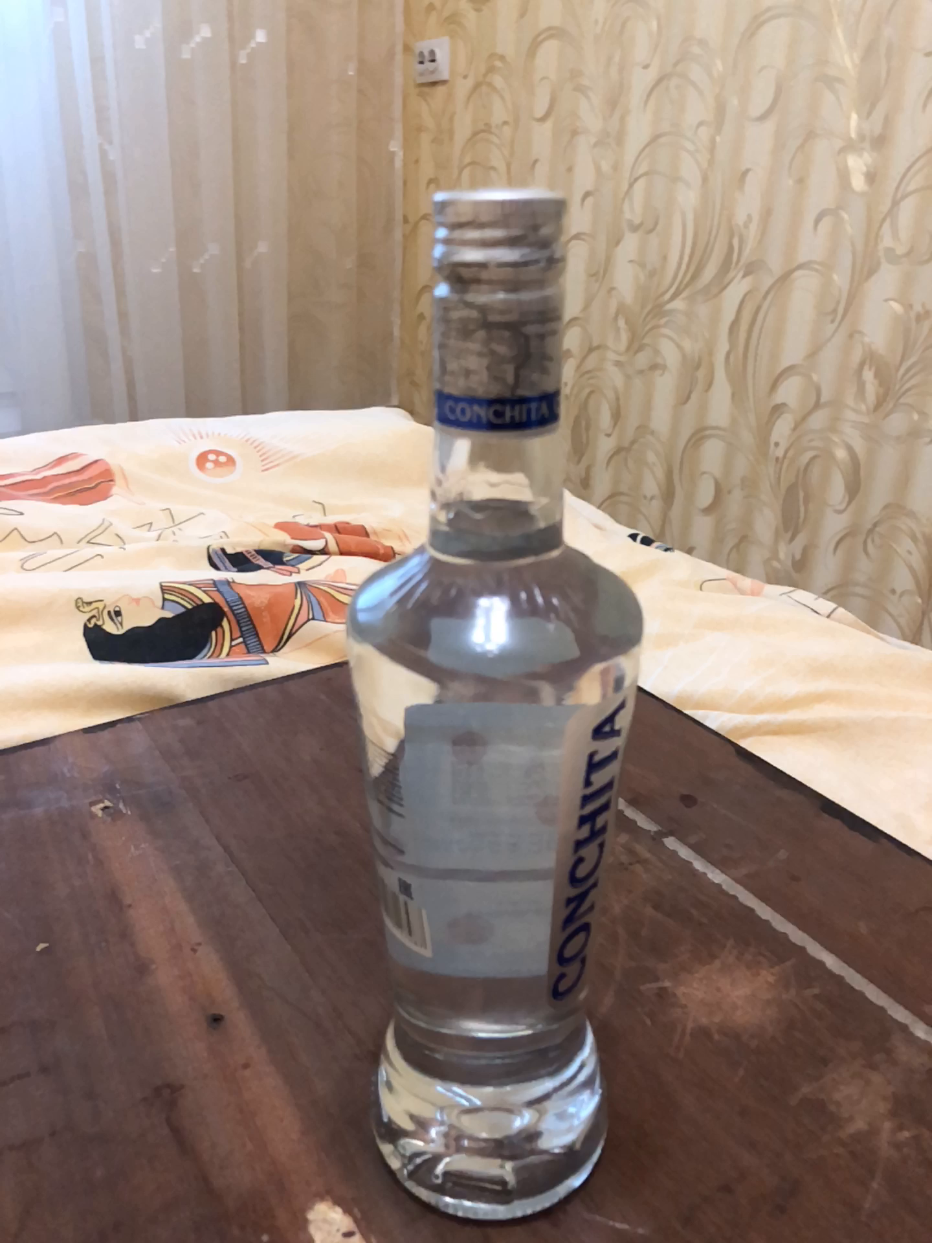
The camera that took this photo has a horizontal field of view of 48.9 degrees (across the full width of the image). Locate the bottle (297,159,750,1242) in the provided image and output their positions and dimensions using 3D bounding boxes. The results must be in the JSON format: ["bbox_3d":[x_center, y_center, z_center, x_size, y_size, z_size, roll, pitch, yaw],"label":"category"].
[{"bbox_3d":[0.012,0.030,0.269,0.075,0.273,0.077,2,24,-1],"label":"bottle"}]
